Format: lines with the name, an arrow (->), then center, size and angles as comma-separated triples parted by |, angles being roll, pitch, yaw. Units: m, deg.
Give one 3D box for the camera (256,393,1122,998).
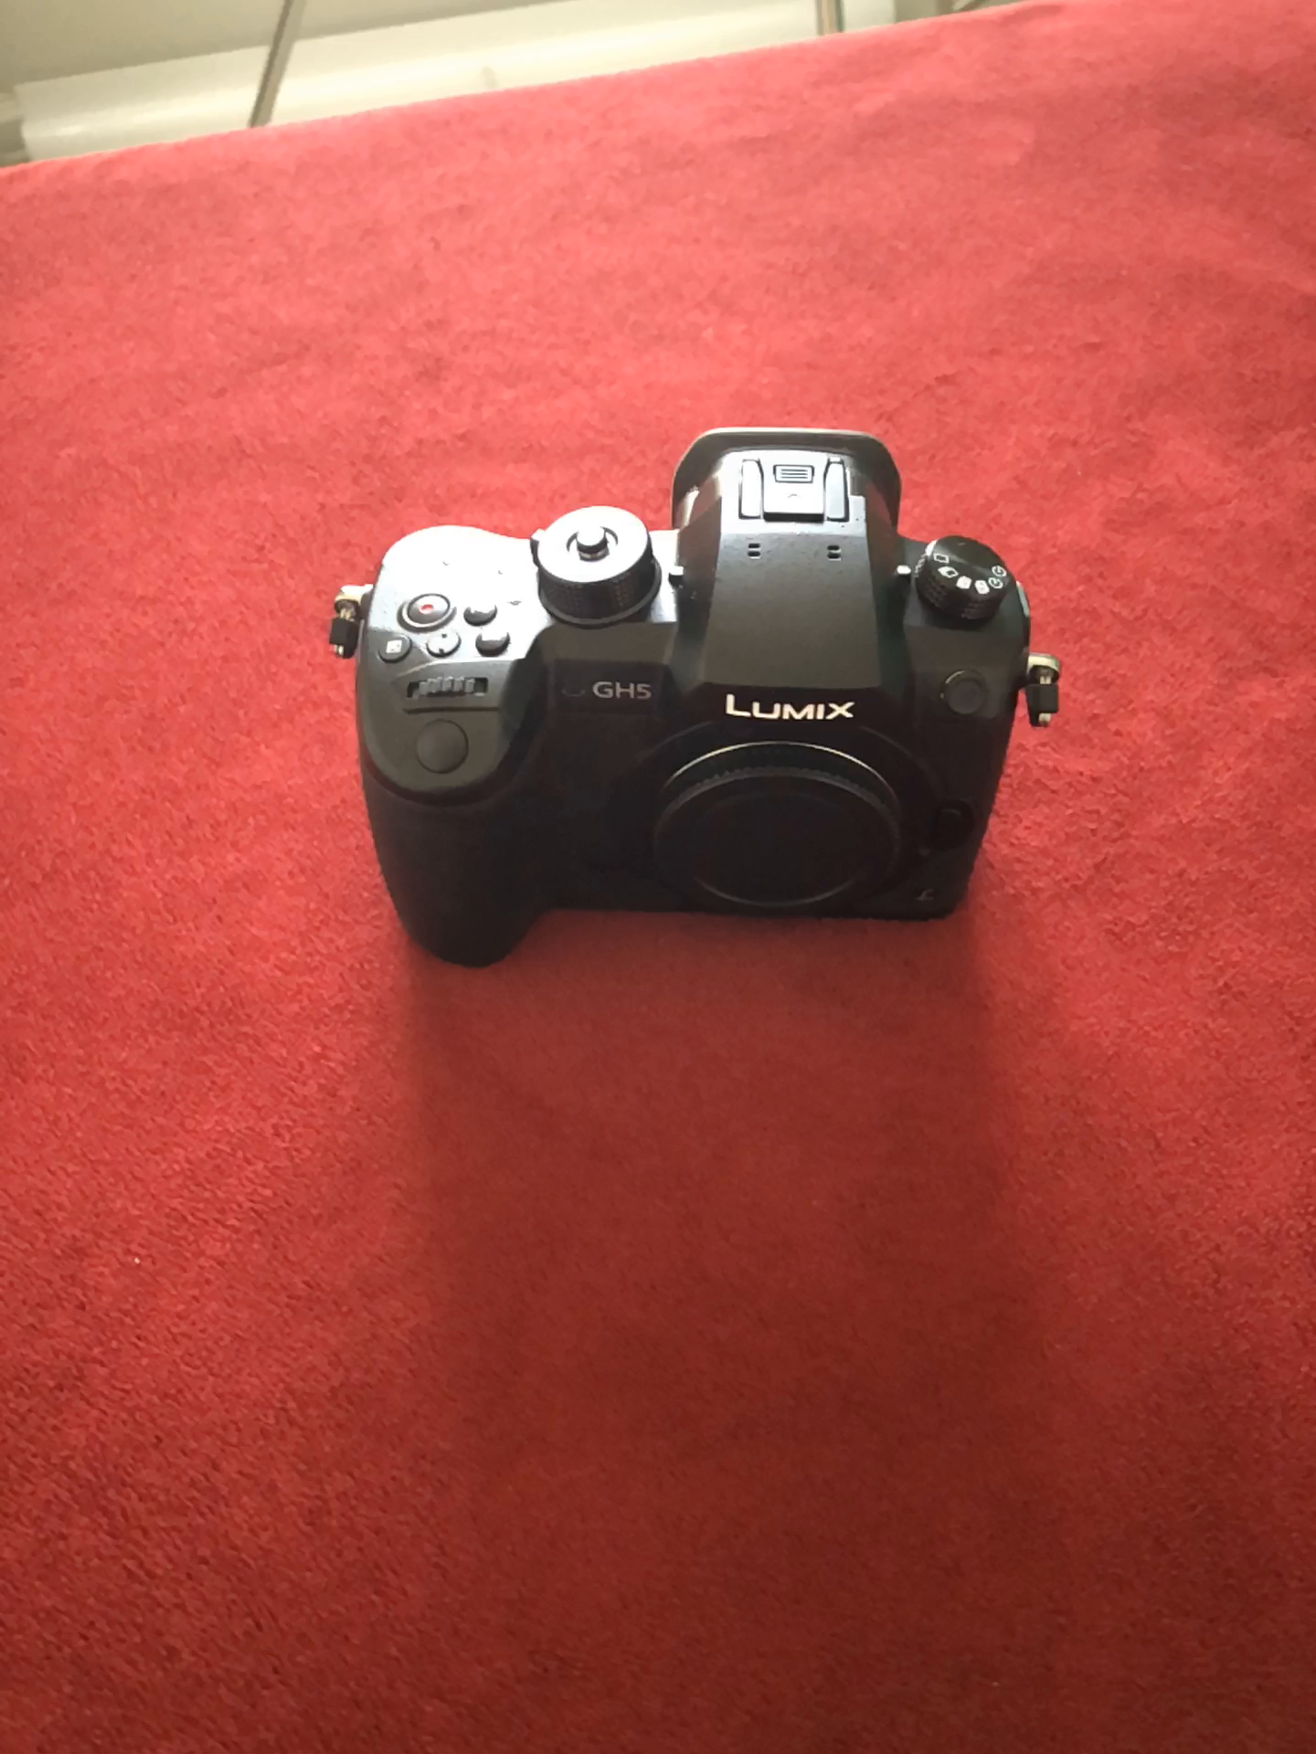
camera -> 0.007, -0.037, 0.311 | 0.148, 0.087, 0.086 | 2, 53, 2
